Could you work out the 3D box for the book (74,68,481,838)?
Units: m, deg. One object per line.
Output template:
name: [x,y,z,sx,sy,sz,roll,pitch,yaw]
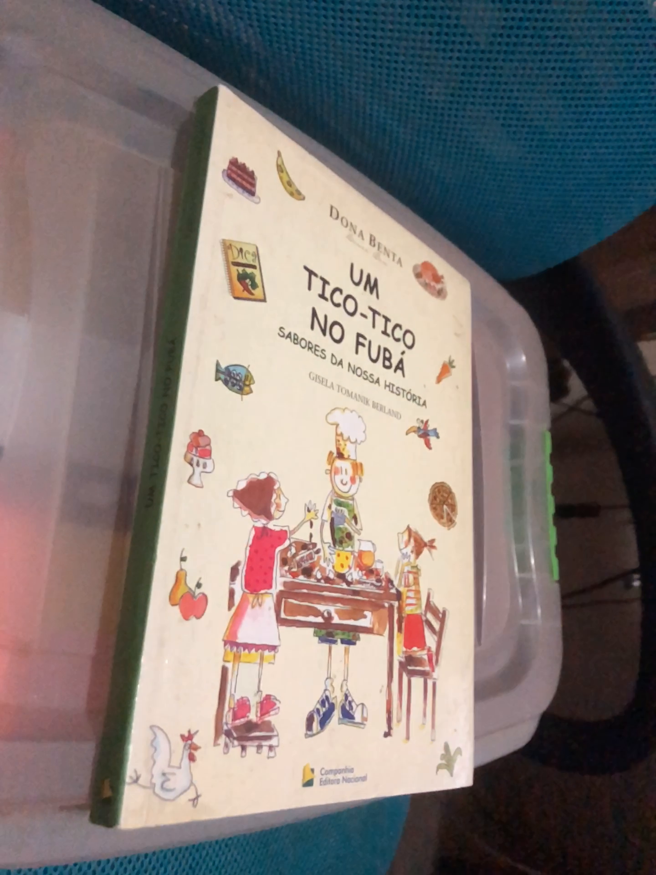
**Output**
book: [0.005,0.010,0.279,0.172,0.020,0.232,22,65,-46]
